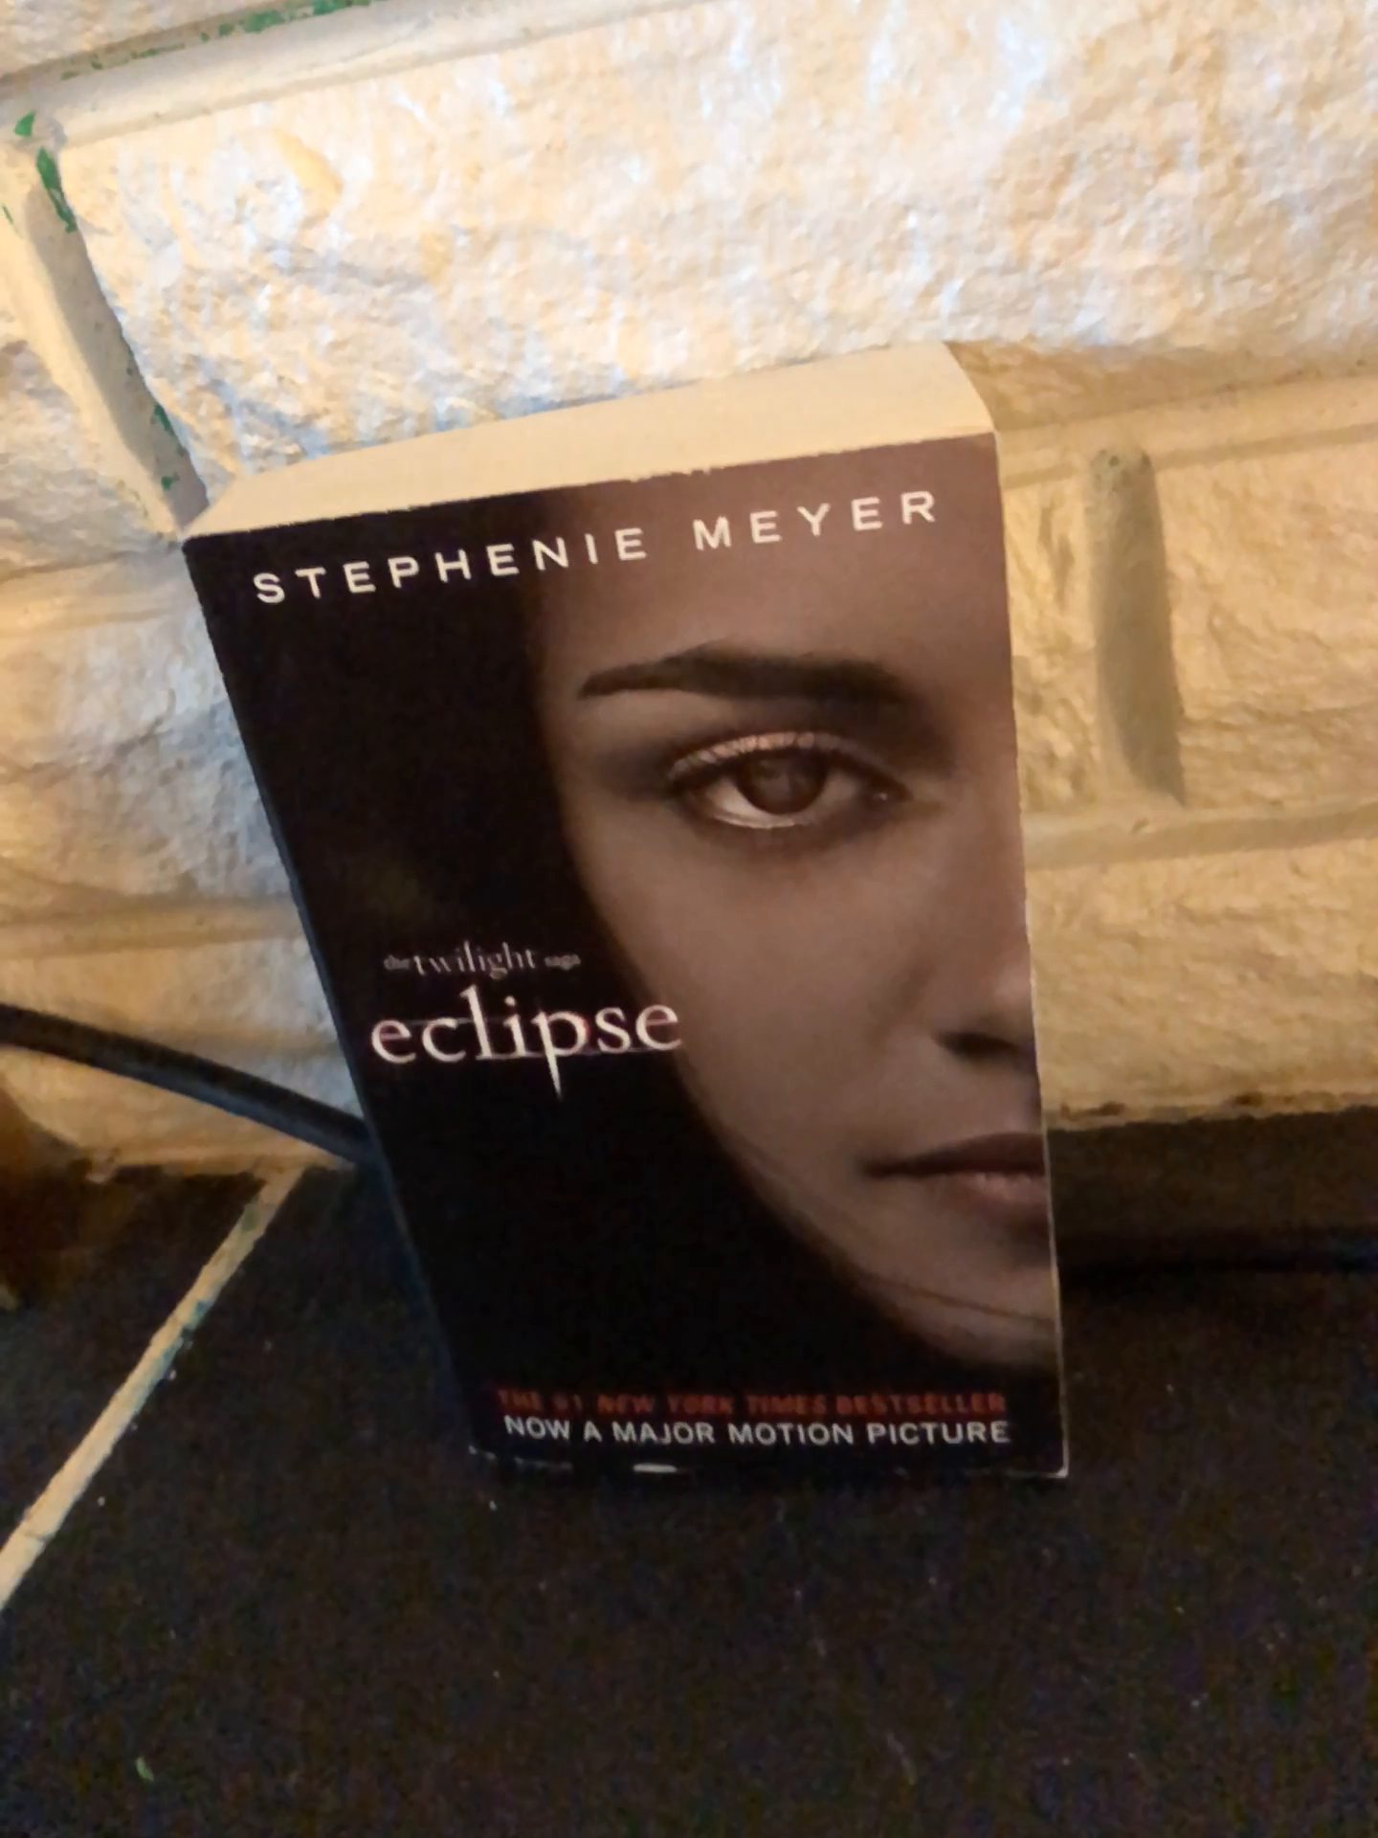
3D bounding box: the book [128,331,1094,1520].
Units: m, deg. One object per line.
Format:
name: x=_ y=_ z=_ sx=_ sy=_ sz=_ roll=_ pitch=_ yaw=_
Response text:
book: x=0.002 y=0.015 z=0.241 sx=0.106 sy=0.181 sz=0.042 roll=-3 pitch=32 yaw=17
